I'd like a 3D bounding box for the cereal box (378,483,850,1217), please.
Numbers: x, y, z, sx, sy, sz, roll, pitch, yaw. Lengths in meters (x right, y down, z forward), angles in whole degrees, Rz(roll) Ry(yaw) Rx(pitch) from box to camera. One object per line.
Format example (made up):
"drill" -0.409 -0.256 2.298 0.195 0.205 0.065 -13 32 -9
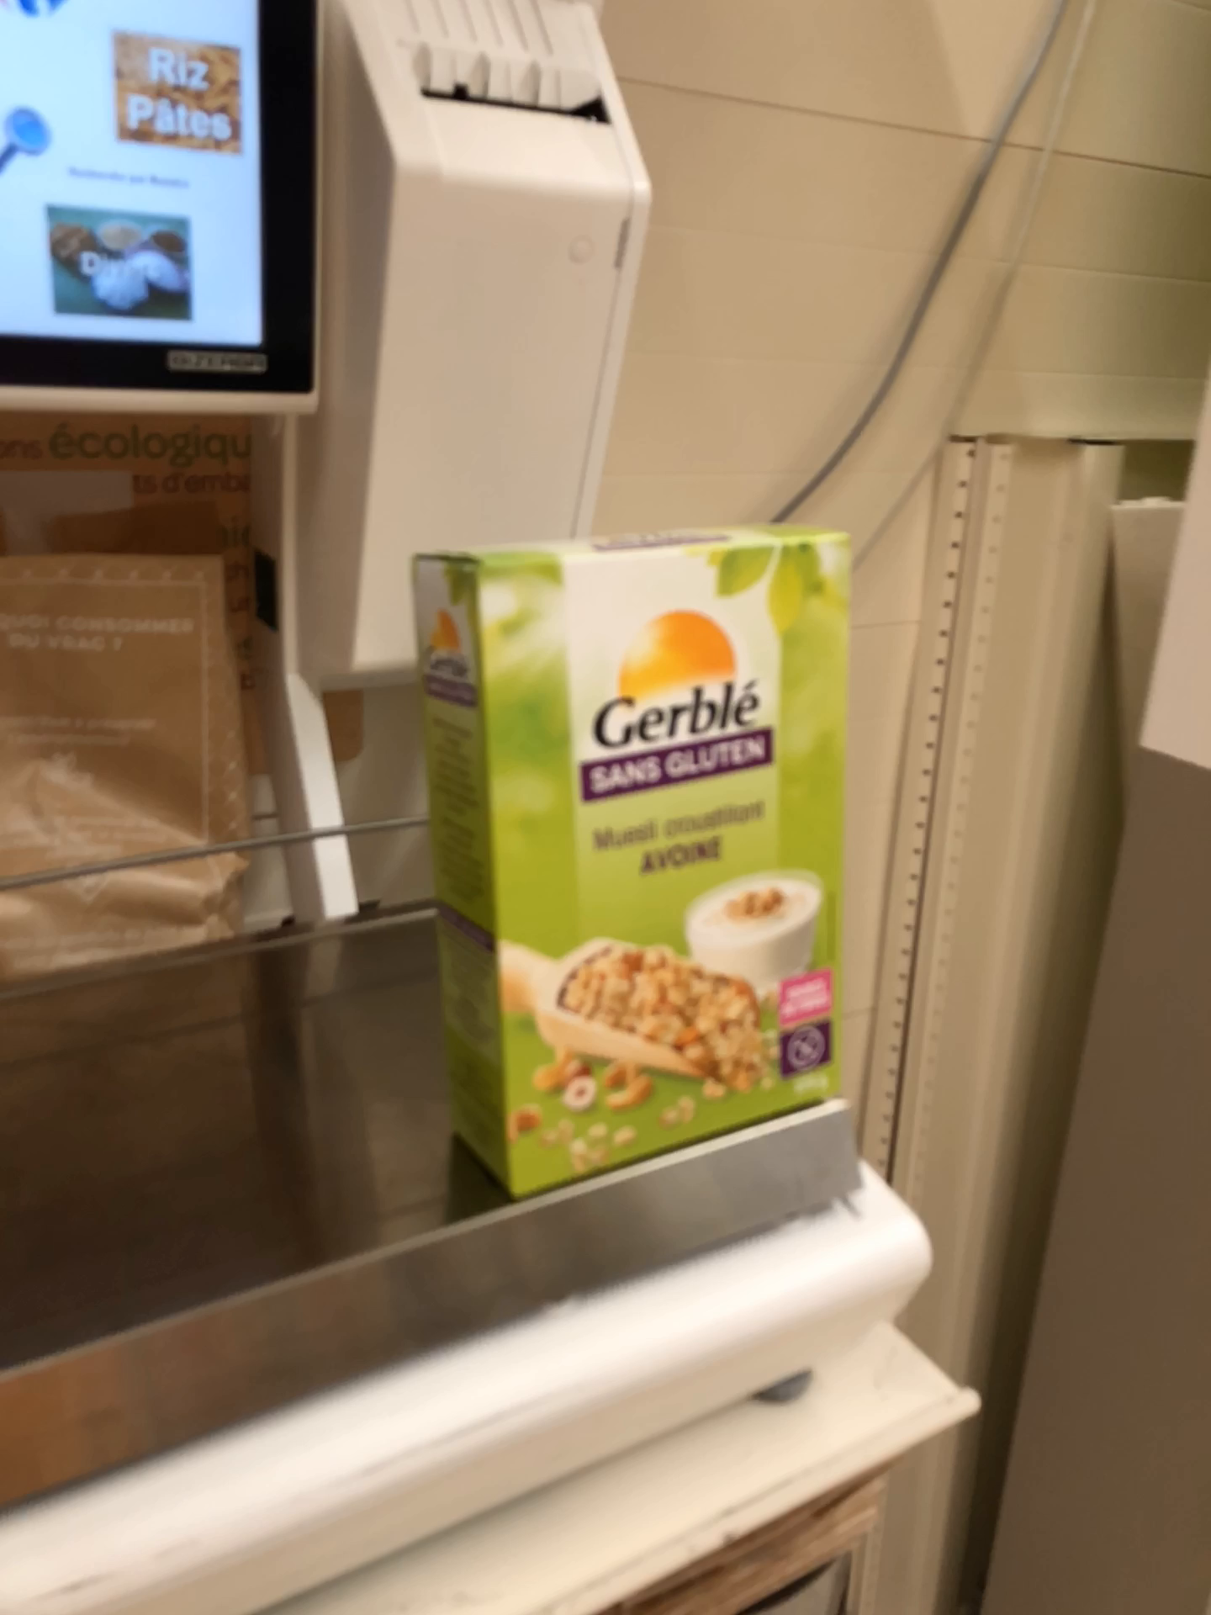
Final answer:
"cereal box" 0.010 0.008 0.459 0.151 0.229 0.050 -10 17 -27
